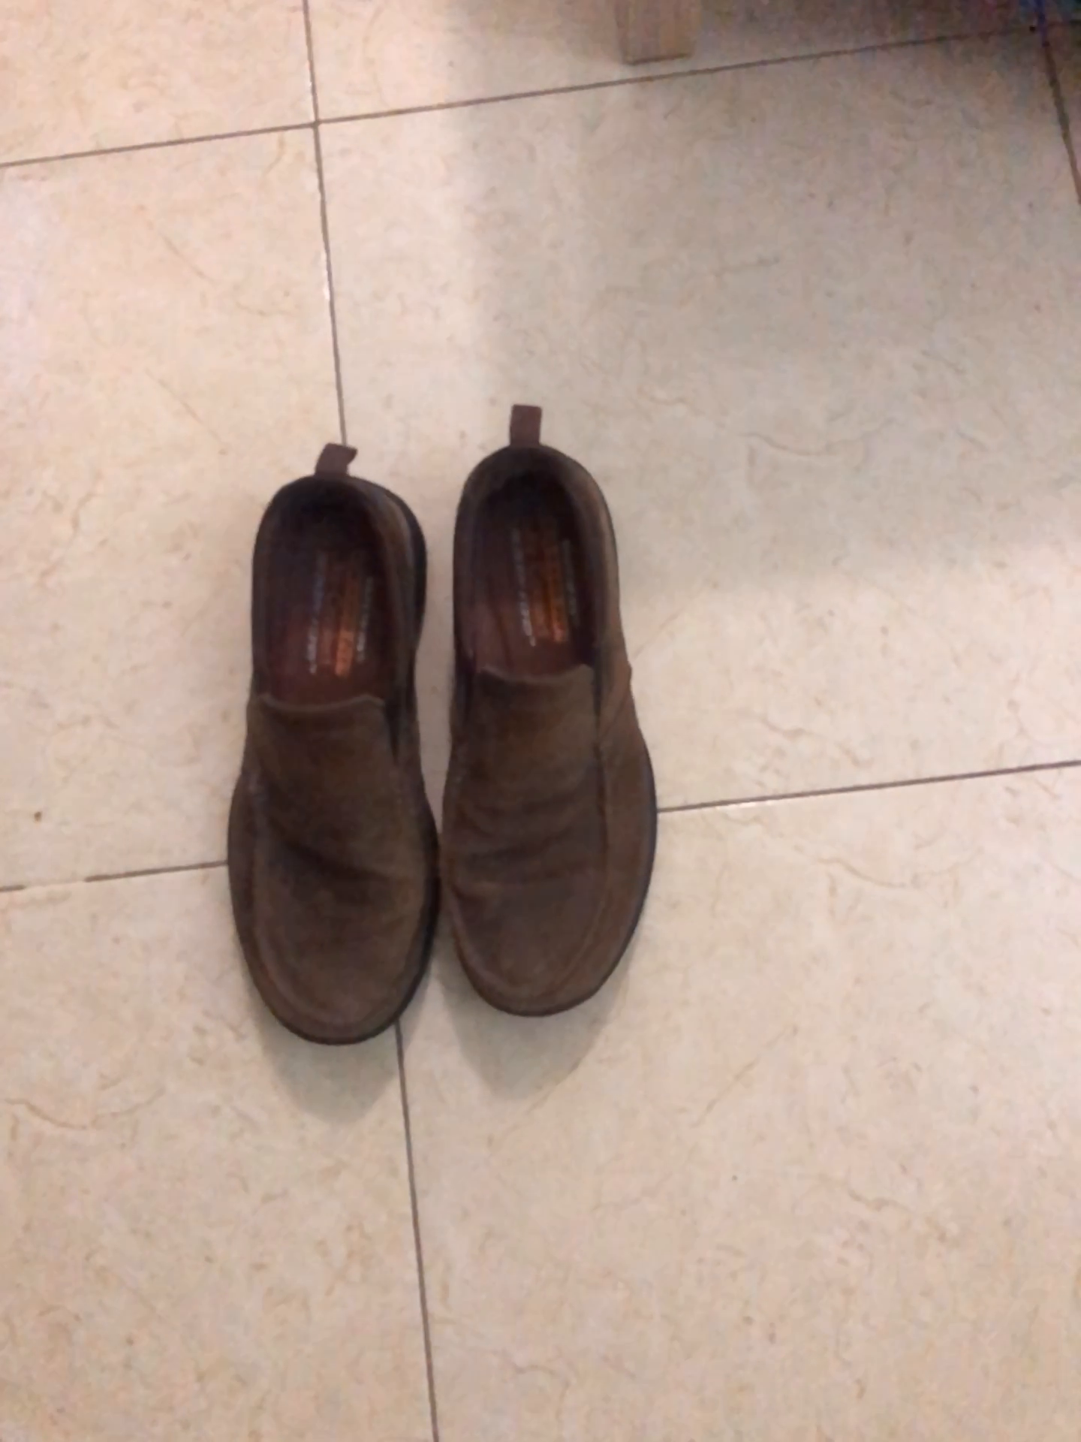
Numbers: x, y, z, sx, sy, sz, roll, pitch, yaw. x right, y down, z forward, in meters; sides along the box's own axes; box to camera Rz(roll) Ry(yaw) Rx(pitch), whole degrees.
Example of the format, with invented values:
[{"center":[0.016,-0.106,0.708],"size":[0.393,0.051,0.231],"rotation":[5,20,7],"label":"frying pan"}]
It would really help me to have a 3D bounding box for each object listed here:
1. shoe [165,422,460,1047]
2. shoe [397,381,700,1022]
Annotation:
[{"center":[-0.109,0.009,0.623],"size":[0.120,0.100,0.300],"rotation":[0,80,2],"label":"shoe"},{"center":[0.002,-0.007,0.613],"size":[0.130,0.100,0.300],"rotation":[-3,80,2],"label":"shoe"}]
